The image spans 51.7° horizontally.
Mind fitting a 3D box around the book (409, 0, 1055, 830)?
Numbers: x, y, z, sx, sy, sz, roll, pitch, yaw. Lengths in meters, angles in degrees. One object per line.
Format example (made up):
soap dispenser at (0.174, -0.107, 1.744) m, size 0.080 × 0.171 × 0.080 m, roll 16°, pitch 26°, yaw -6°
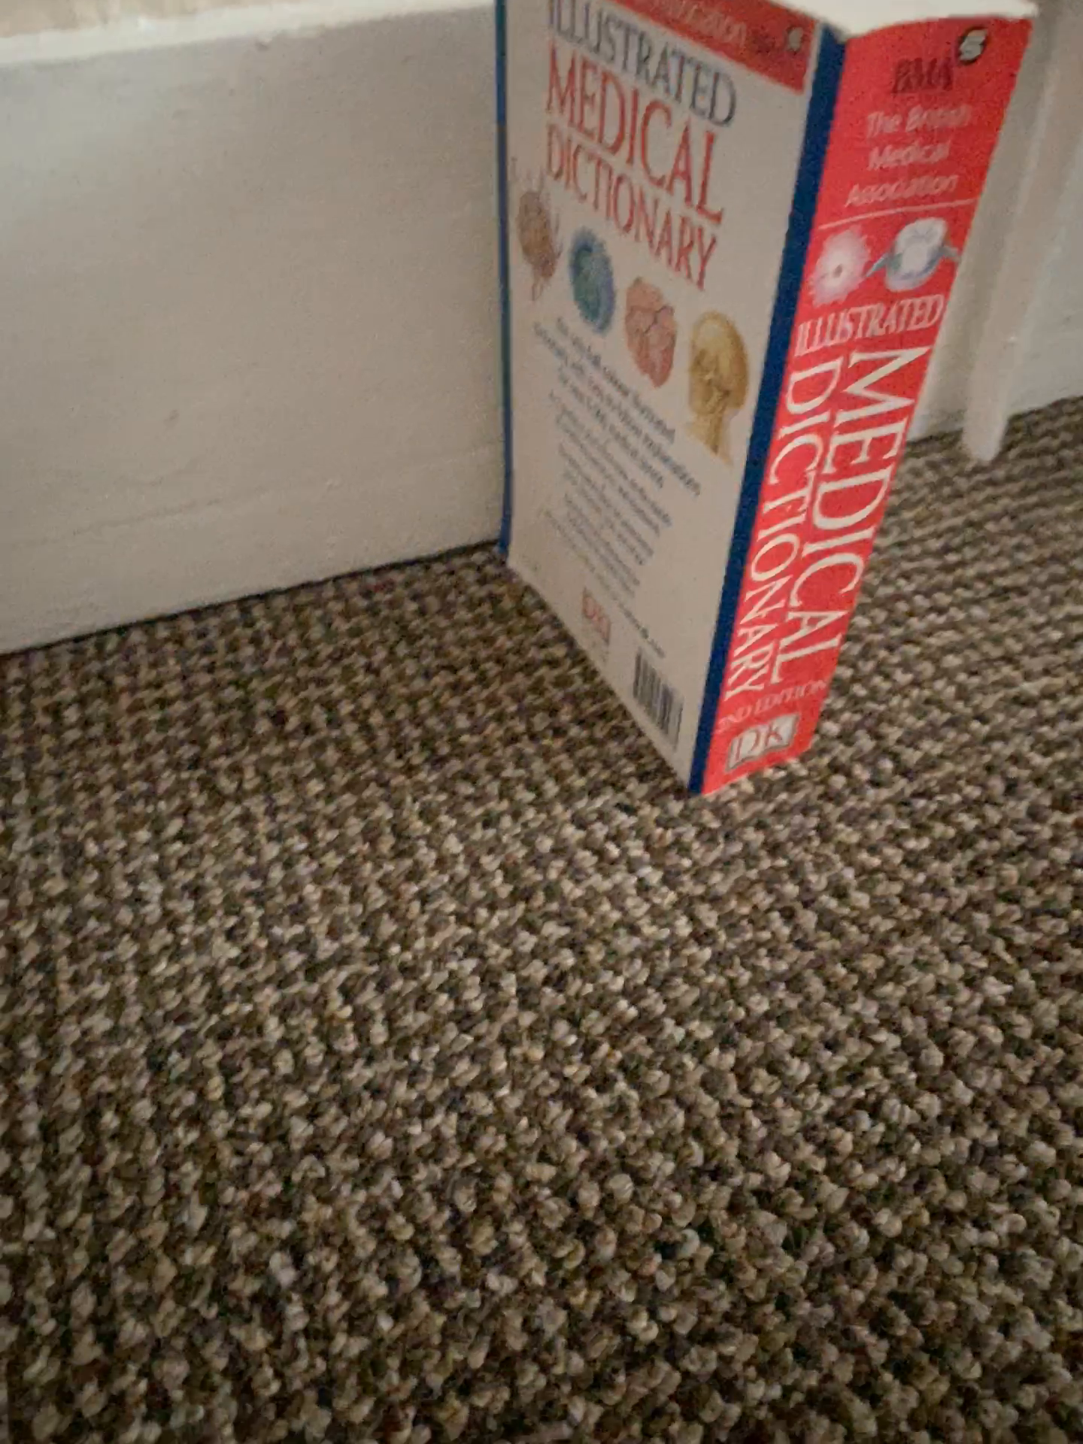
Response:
book at (0.028, -0.110, 0.320) m, size 0.060 × 0.198 × 0.192 m, roll -16°, pitch 47°, yaw -14°
